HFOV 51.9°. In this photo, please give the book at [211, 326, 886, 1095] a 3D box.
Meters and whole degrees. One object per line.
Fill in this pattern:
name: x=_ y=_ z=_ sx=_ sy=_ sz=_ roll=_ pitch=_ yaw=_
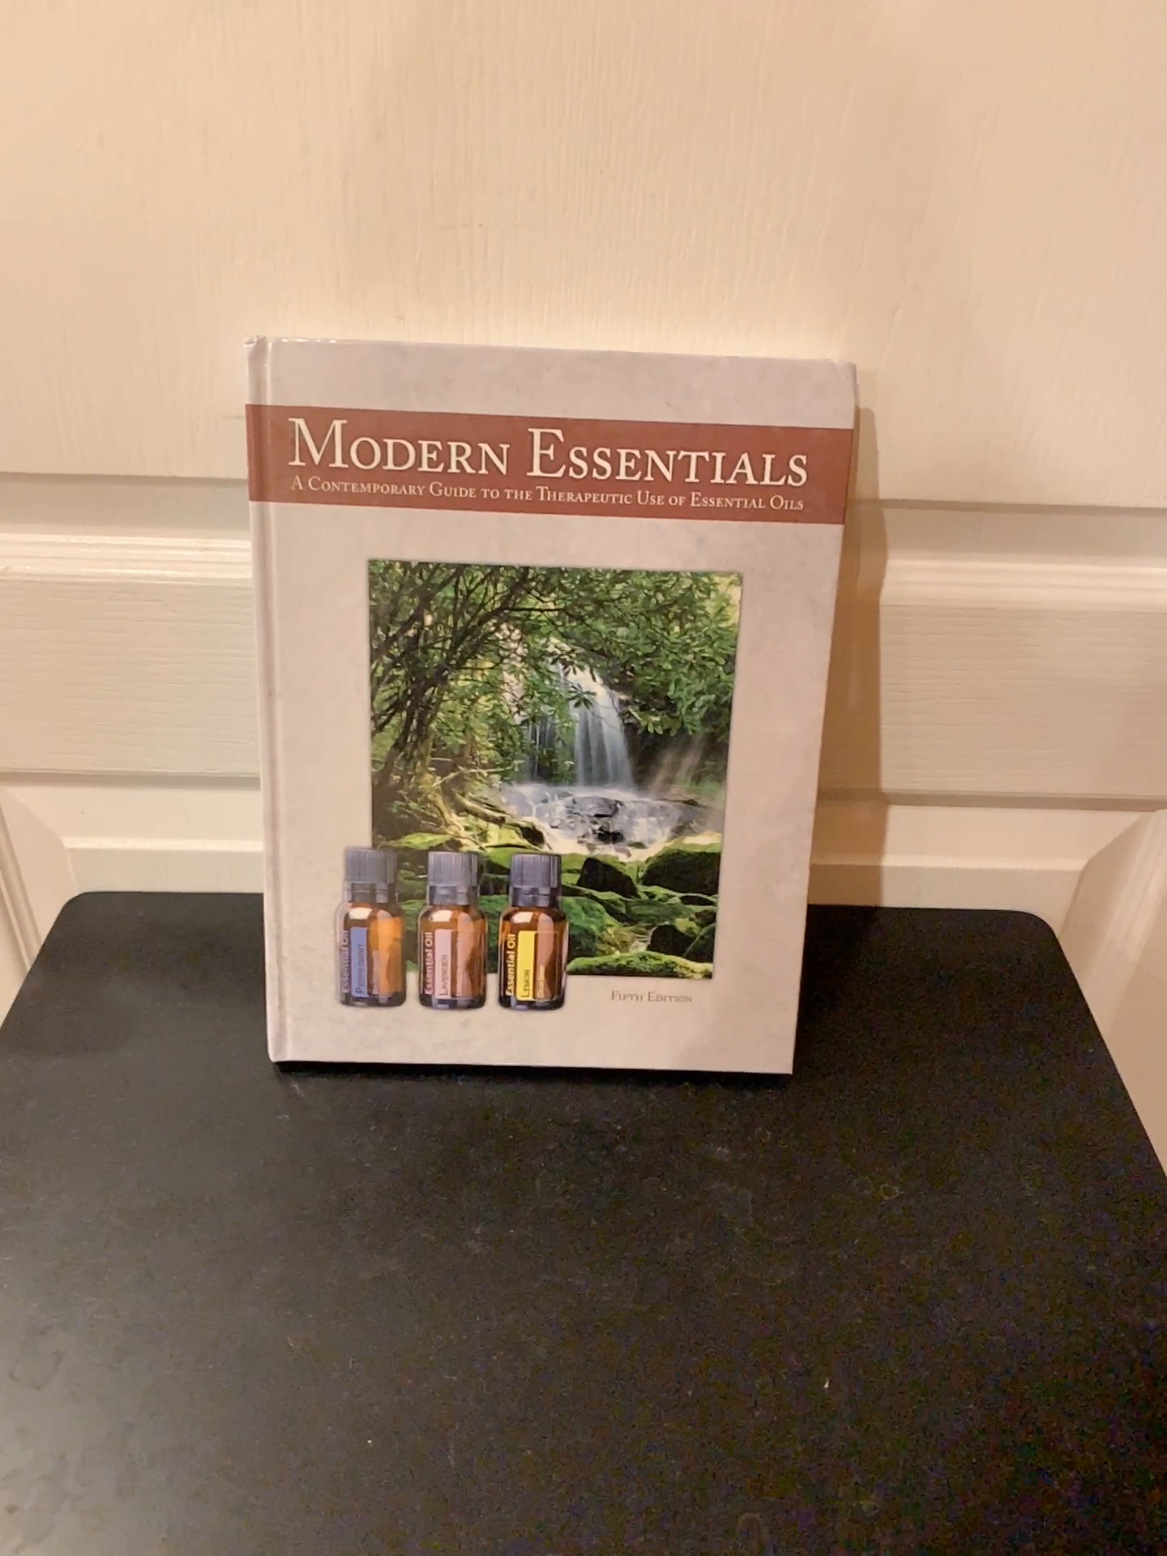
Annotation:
book: x=-0.017 y=-0.016 z=0.464 sx=0.230 sy=0.289 sz=0.030 roll=2 pitch=17 yaw=-1
